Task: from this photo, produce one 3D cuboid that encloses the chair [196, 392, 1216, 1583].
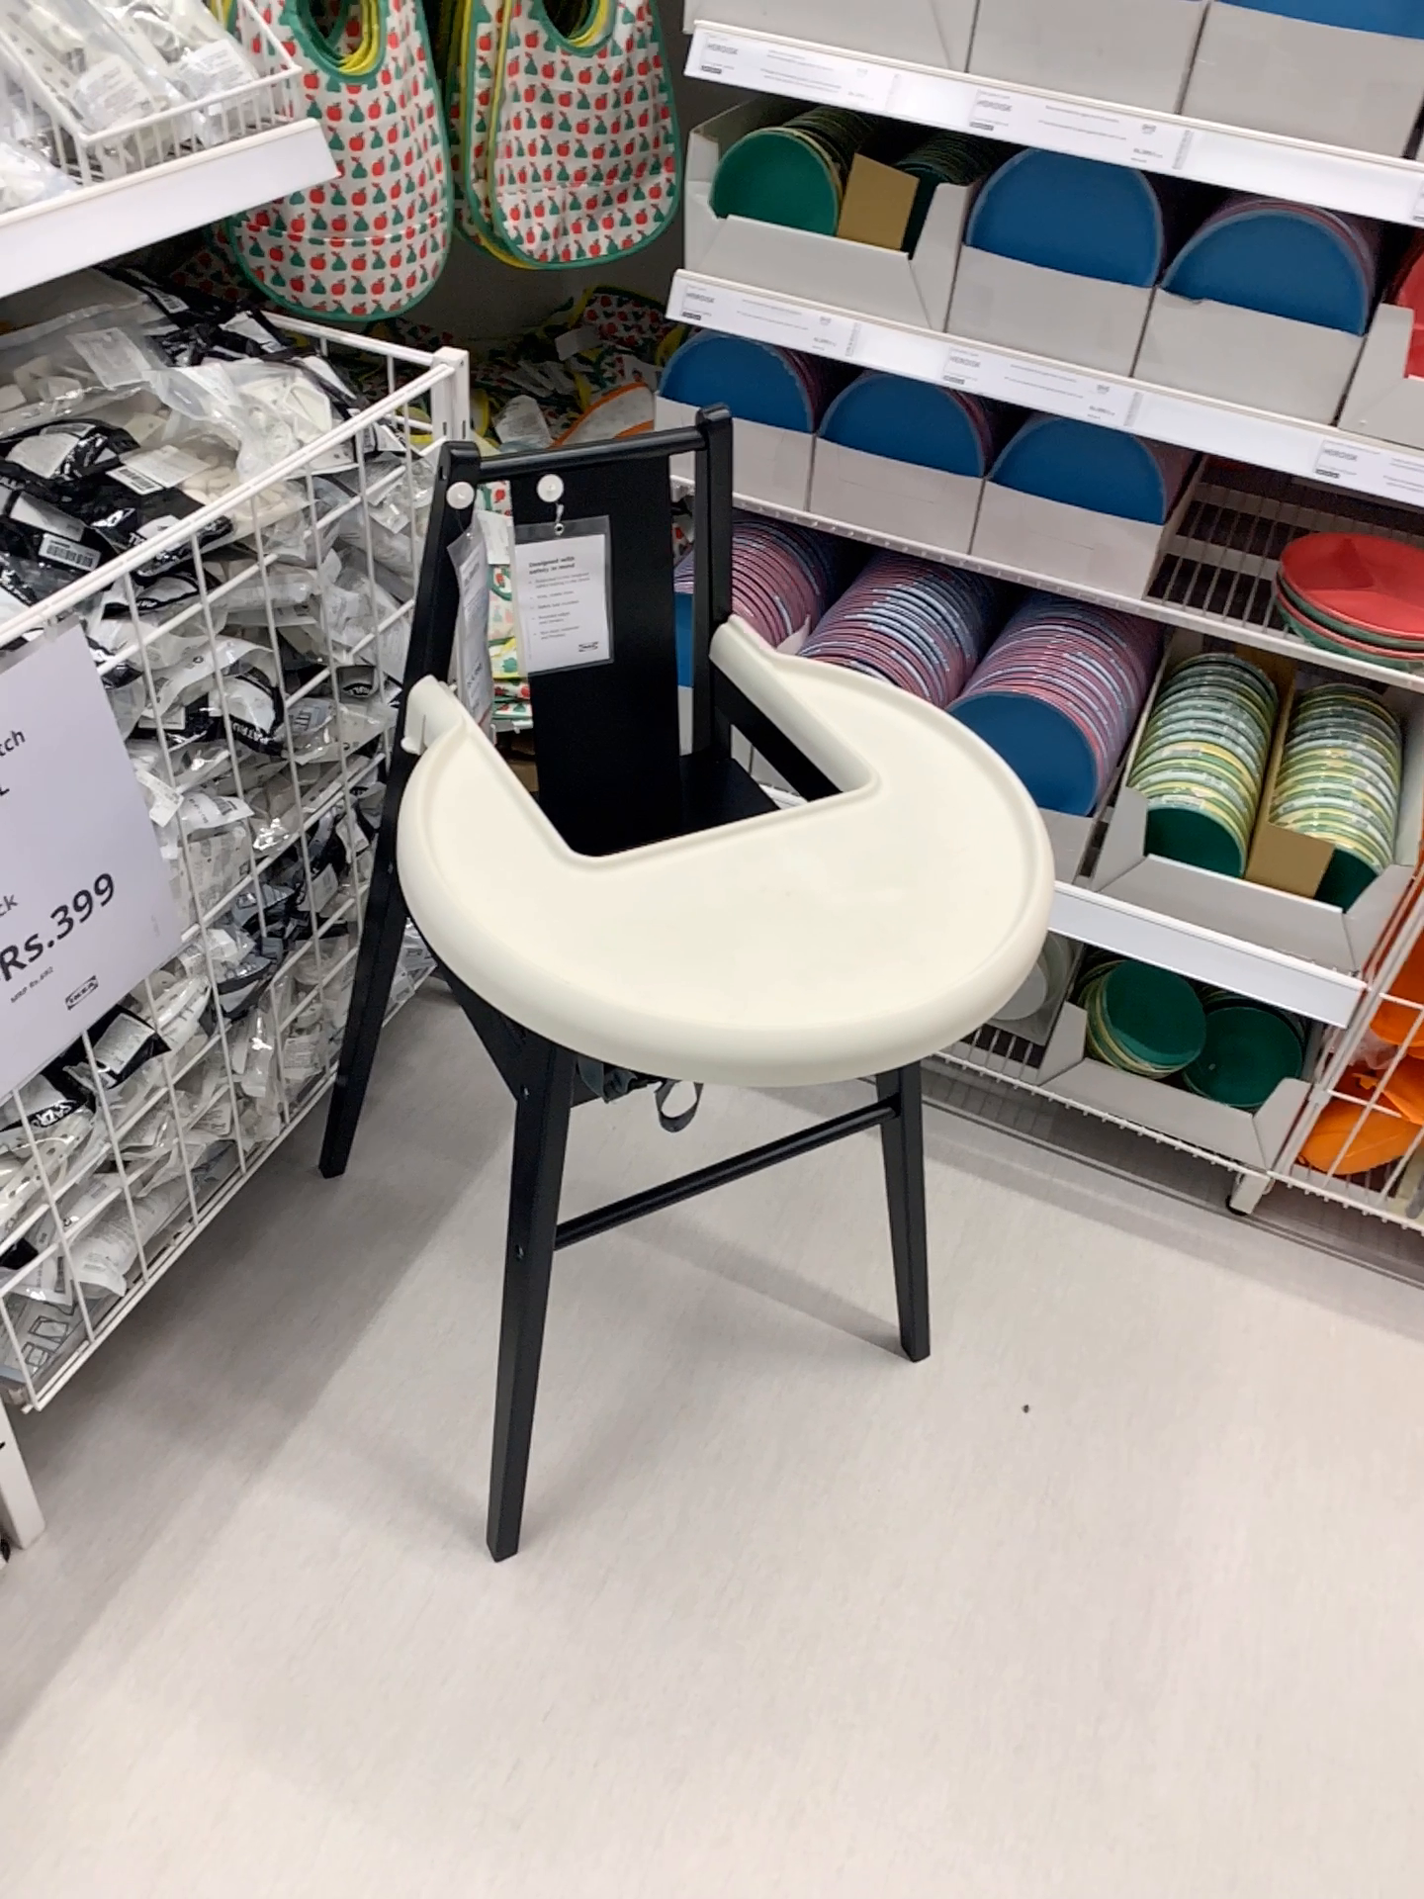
[{"bbox_3d":[-0.060,0.024,1.289,0.531,0.777,0.552,-17,47,-24],"label":"chair"}]
